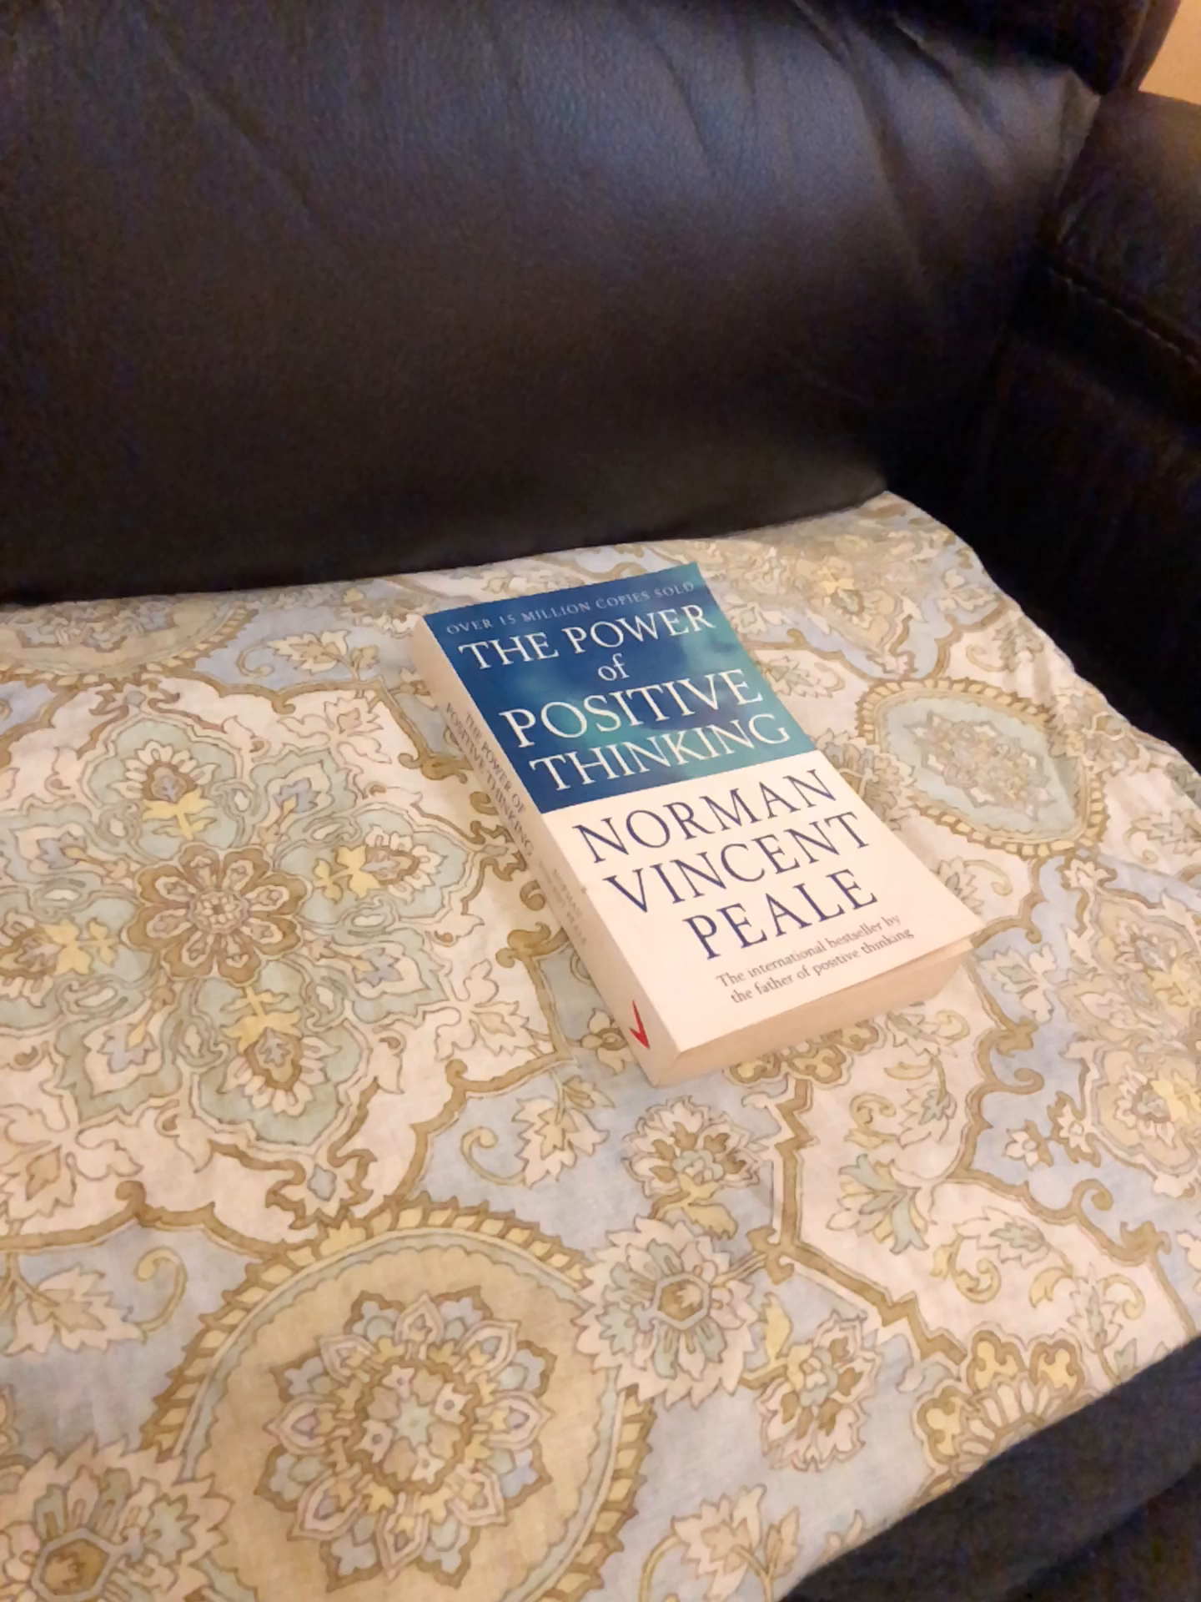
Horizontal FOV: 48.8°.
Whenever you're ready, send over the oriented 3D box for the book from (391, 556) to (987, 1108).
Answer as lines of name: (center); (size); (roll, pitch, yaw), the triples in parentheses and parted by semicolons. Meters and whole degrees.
book: (0.024, -0.003, 0.441); (0.120, 0.030, 0.183); (-14, 57, -31)
